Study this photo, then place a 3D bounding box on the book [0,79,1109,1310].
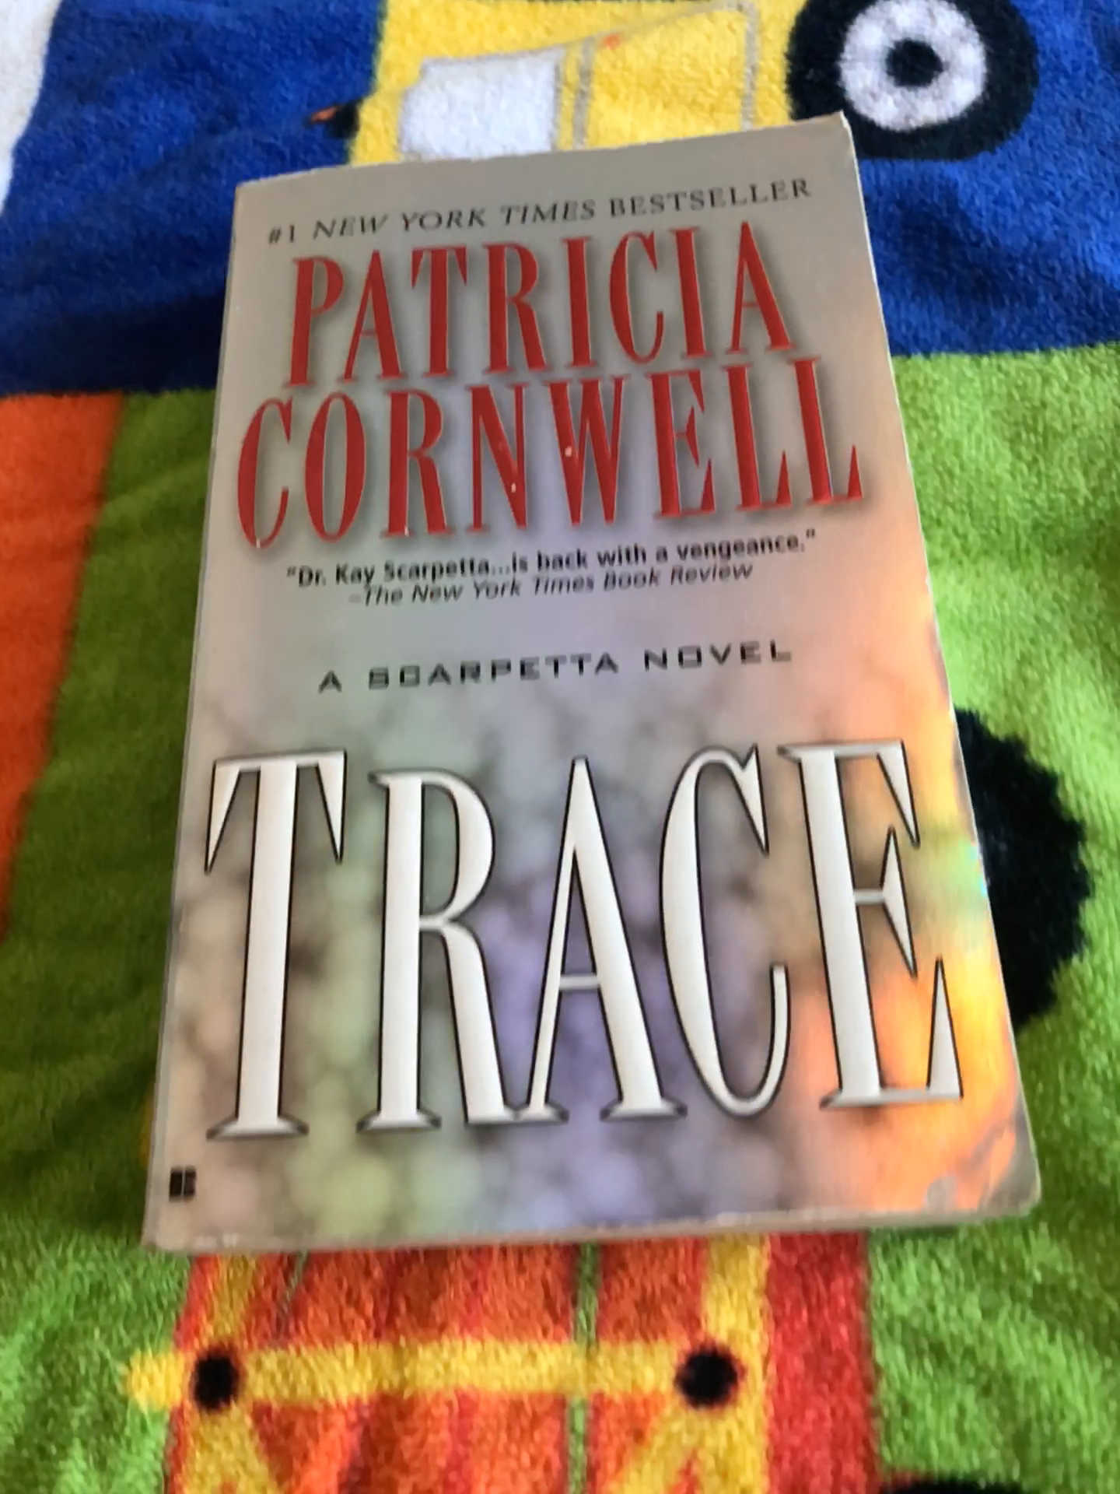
[{"bbox_3d":[-0.002,-0.015,0.190,0.120,0.040,0.180,-3,66,5],"label":"book"}]
